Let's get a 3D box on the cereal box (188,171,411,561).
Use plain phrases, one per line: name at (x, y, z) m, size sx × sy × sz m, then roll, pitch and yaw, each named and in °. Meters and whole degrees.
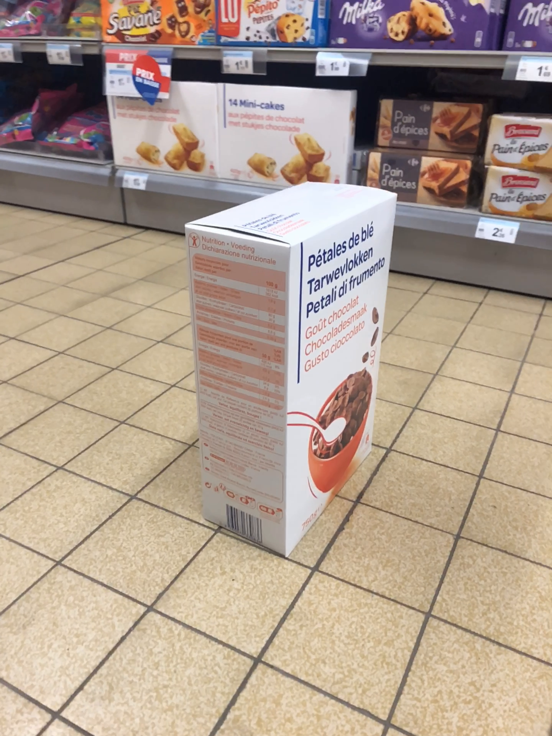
cereal box at (0.027, -0.013, 0.561) m, size 0.100 × 0.288 × 0.201 m, roll 15°, pitch 31°, yaw 26°
